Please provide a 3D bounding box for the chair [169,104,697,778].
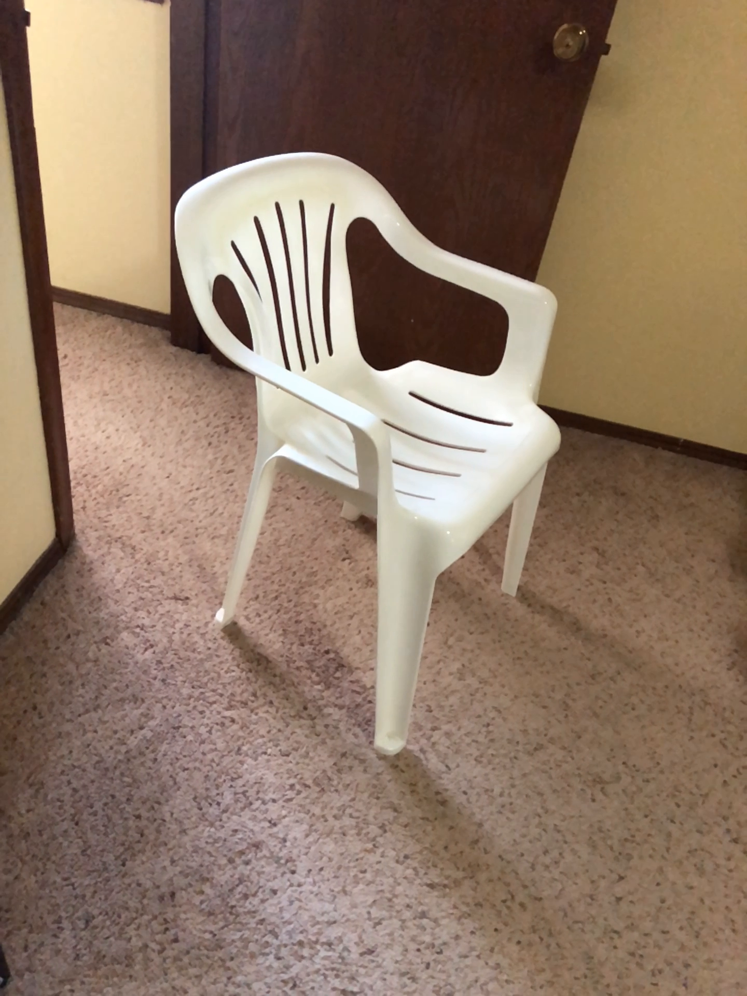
[{"bbox_3d":[0.059,-0.109,1.294,0.470,0.768,0.582,27,41,19],"label":"chair"}]
